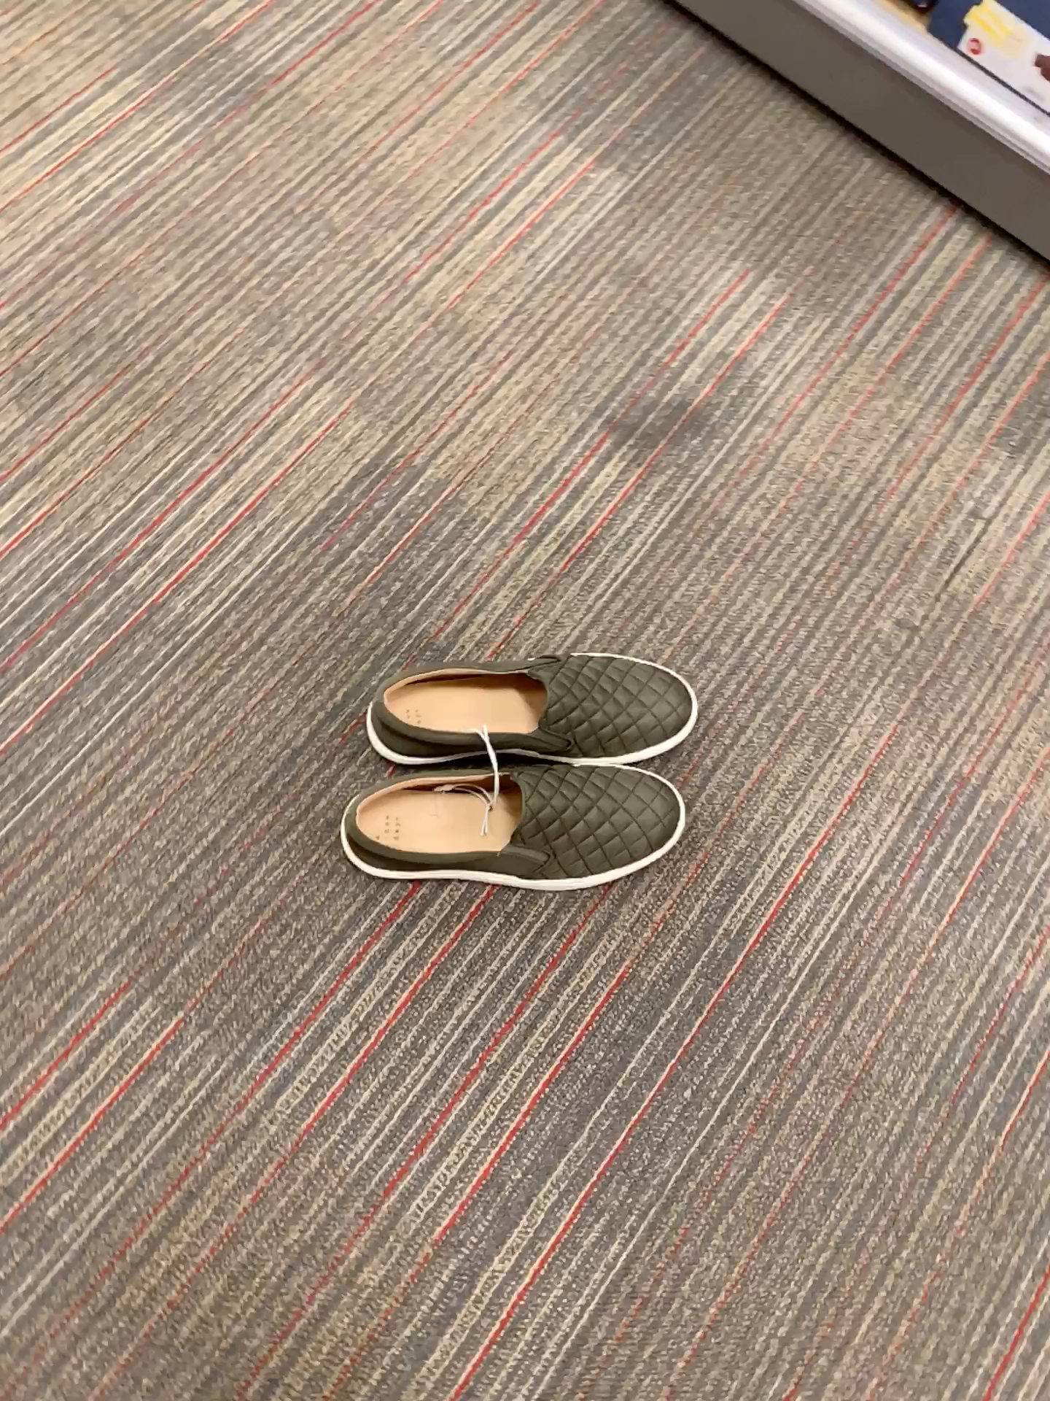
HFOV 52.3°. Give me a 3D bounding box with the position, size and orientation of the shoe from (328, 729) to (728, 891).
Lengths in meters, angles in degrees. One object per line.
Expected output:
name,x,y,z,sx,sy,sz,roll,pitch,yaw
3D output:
shoe,-0.004,0.091,0.846,0.290,0.130,0.100,1,72,-7

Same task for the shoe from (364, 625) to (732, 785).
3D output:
shoe,0.012,0.005,0.903,0.290,0.110,0.100,-1,73,-8
